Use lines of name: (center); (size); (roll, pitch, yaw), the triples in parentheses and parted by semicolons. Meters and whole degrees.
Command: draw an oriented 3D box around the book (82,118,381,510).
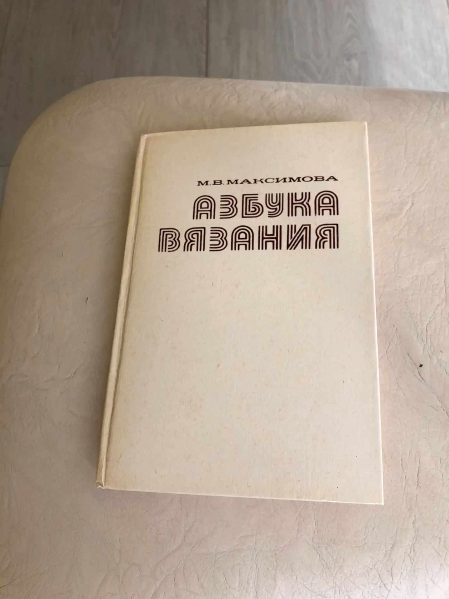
book: (0.008, -0.002, 0.289); (0.148, 0.024, 0.218); (0, 71, 11)
